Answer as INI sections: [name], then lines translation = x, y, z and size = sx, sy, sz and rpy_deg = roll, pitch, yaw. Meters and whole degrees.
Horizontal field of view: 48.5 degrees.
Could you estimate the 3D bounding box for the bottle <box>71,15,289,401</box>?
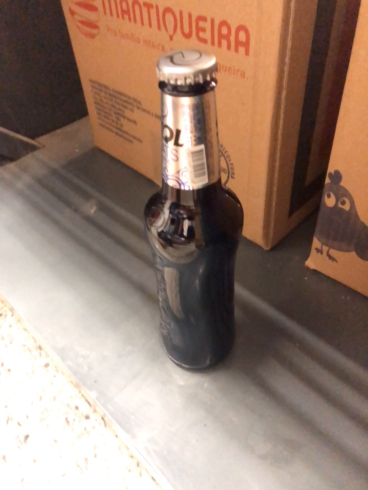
[bottle]
translation = 0.005, -0.003, 0.265
size = 0.070, 0.238, 0.070
rpy_deg = -3, 43, 3
